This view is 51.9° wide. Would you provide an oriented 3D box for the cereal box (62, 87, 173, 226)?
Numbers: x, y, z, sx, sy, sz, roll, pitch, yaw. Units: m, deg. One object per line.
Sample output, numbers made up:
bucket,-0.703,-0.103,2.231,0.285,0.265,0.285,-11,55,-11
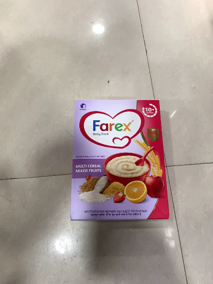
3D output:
cereal box,0.013,0.021,0.355,0.150,0.060,0.210,0,73,-3
